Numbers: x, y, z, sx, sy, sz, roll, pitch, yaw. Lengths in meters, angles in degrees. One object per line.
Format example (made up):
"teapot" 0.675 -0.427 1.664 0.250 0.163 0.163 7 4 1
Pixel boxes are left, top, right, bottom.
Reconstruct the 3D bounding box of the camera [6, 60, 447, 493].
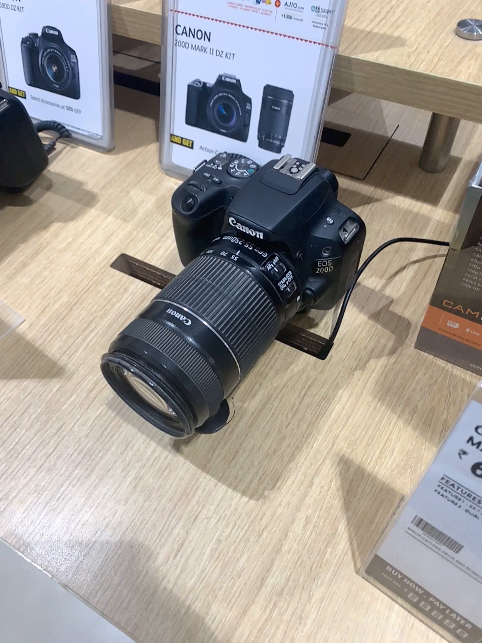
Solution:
"camera" 0.007 -0.038 0.279 0.120 0.100 0.200 27 60 22
